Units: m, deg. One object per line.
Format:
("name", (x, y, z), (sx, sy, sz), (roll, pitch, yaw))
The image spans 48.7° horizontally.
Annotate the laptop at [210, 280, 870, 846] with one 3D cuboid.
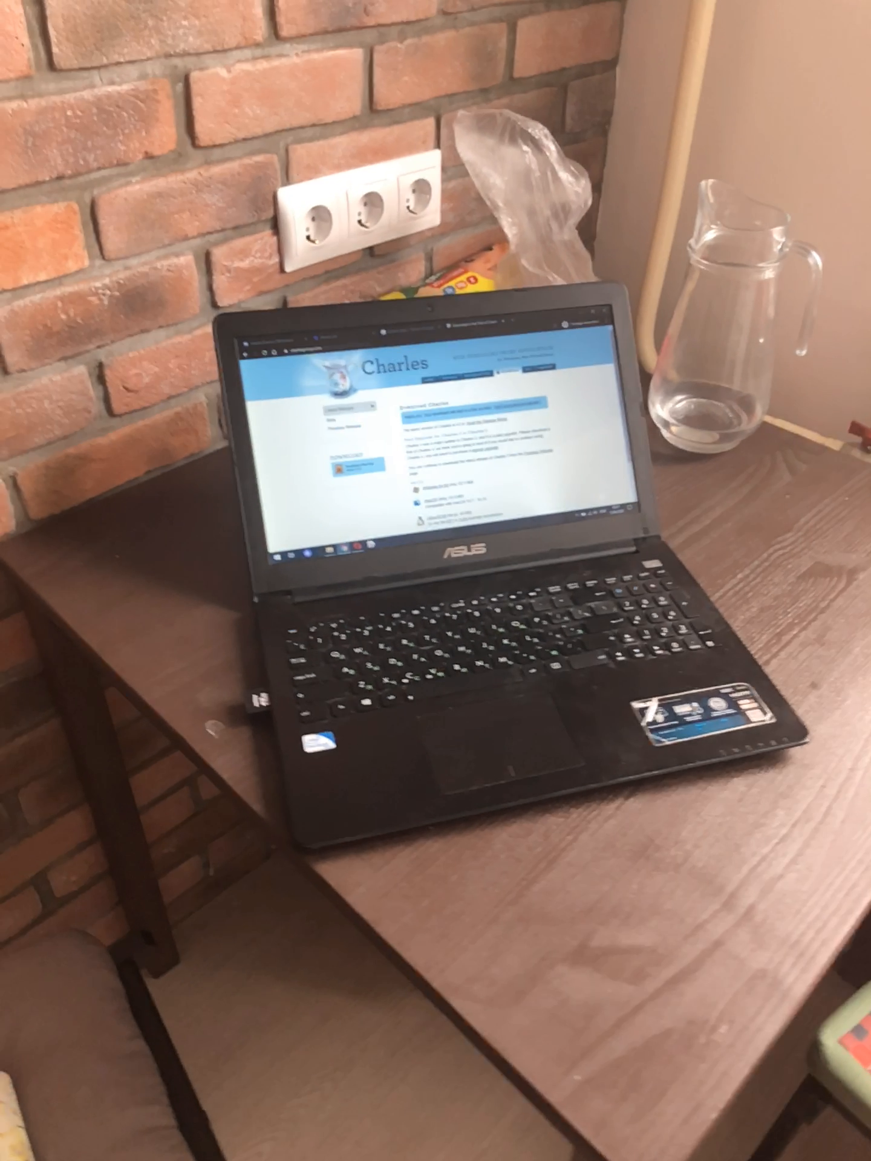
("laptop", (0.040, -0.053, 0.745), (0.372, 0.186, 0.401), (-8, 39, -12))
